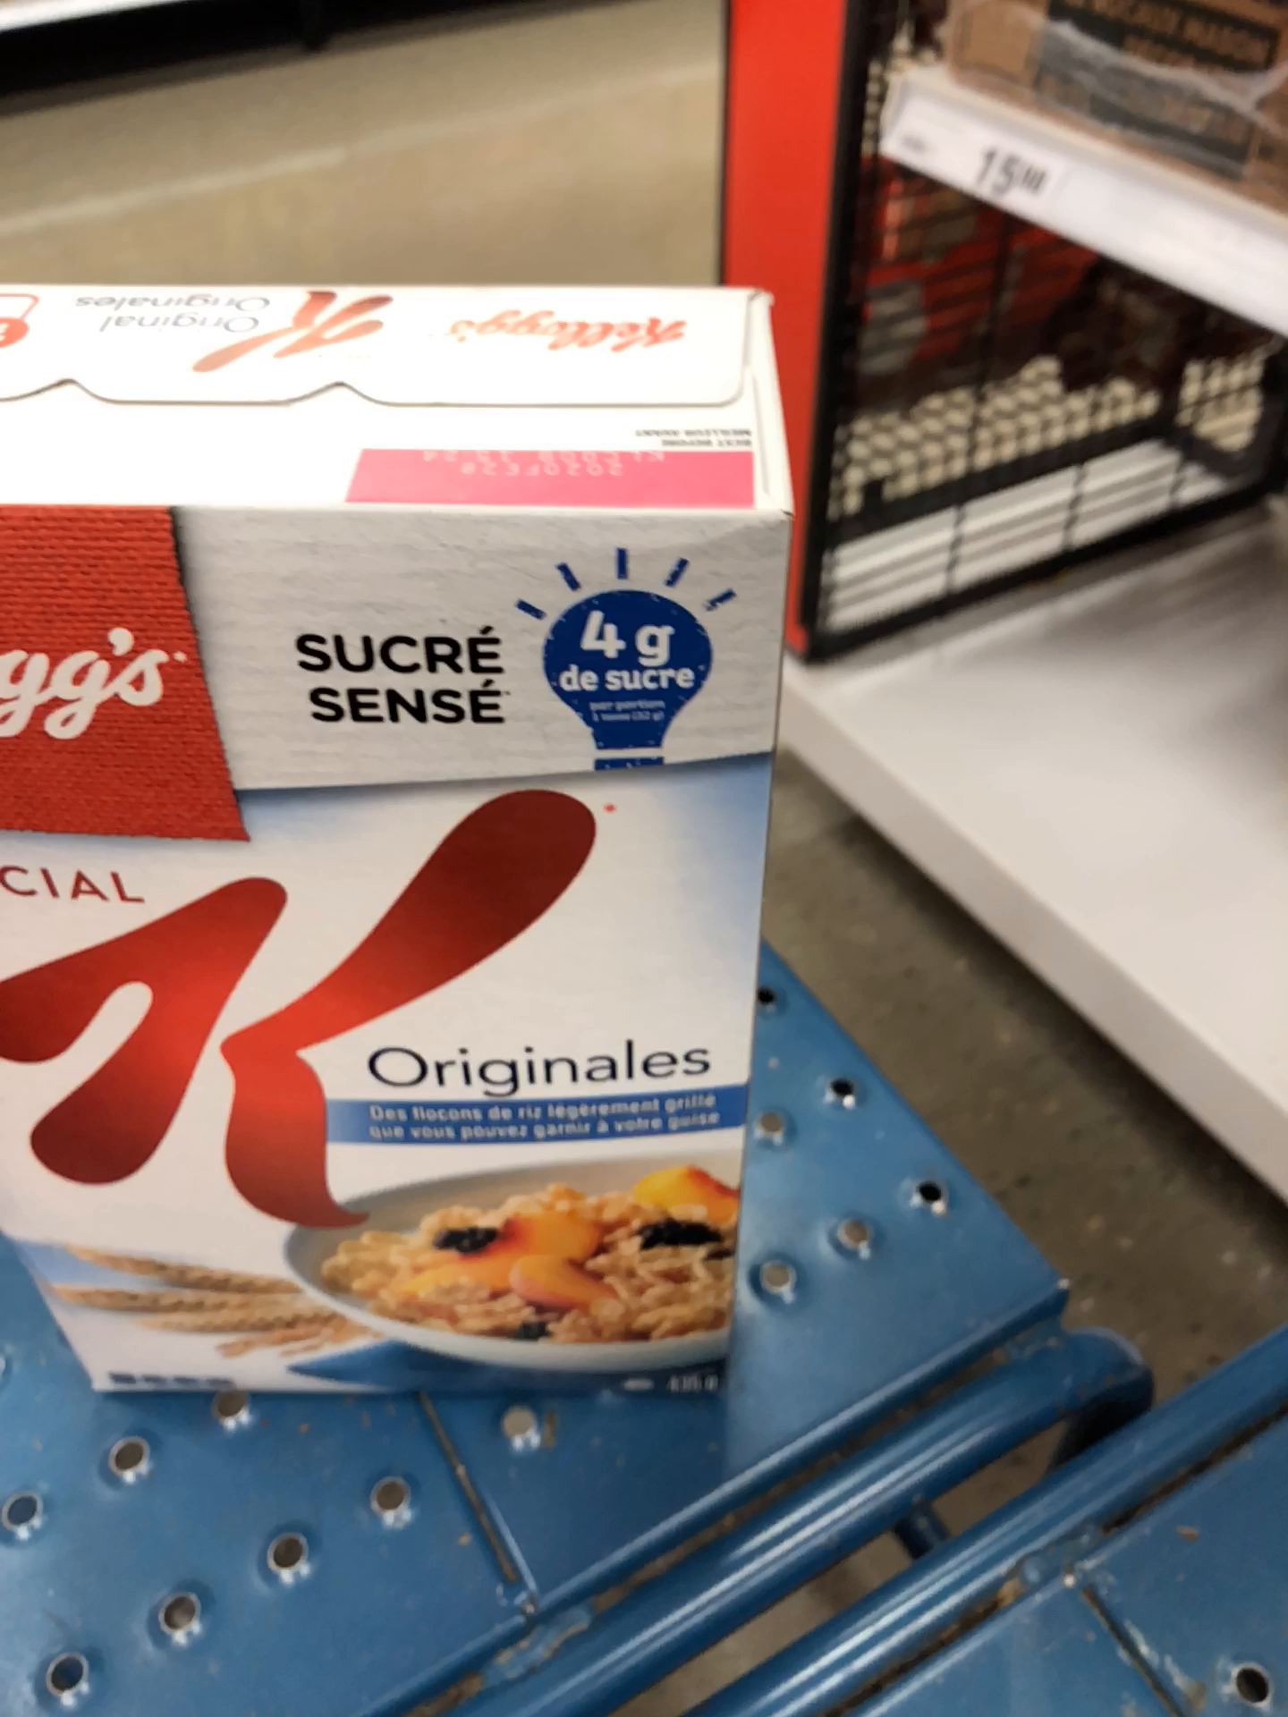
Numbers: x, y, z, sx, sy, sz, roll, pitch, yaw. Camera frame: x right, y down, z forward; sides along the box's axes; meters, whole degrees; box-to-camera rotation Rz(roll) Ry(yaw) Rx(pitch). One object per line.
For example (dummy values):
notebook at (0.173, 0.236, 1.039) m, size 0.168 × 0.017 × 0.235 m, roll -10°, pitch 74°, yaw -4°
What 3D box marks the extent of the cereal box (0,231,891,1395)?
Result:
cereal box at (-0.066, 0.018, 0.347) m, size 0.210 × 0.299 × 0.080 m, roll 0°, pitch 43°, yaw 1°
